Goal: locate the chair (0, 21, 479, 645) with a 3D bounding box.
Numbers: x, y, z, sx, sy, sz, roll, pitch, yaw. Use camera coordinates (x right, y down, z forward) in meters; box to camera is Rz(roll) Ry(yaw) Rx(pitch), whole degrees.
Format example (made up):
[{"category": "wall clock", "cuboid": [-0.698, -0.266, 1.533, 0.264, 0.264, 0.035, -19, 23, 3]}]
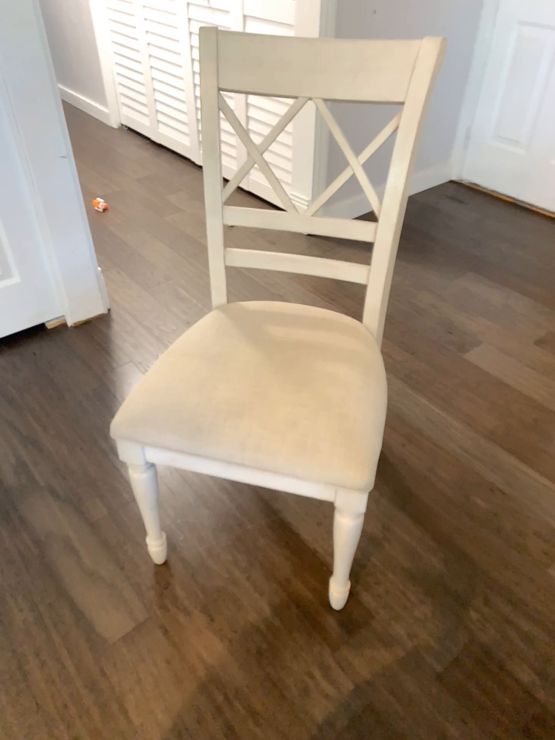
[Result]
[{"category": "chair", "cuboid": [0.001, -0.073, 1.093, 0.530, 0.925, 0.653, 11, 41, 12]}]
